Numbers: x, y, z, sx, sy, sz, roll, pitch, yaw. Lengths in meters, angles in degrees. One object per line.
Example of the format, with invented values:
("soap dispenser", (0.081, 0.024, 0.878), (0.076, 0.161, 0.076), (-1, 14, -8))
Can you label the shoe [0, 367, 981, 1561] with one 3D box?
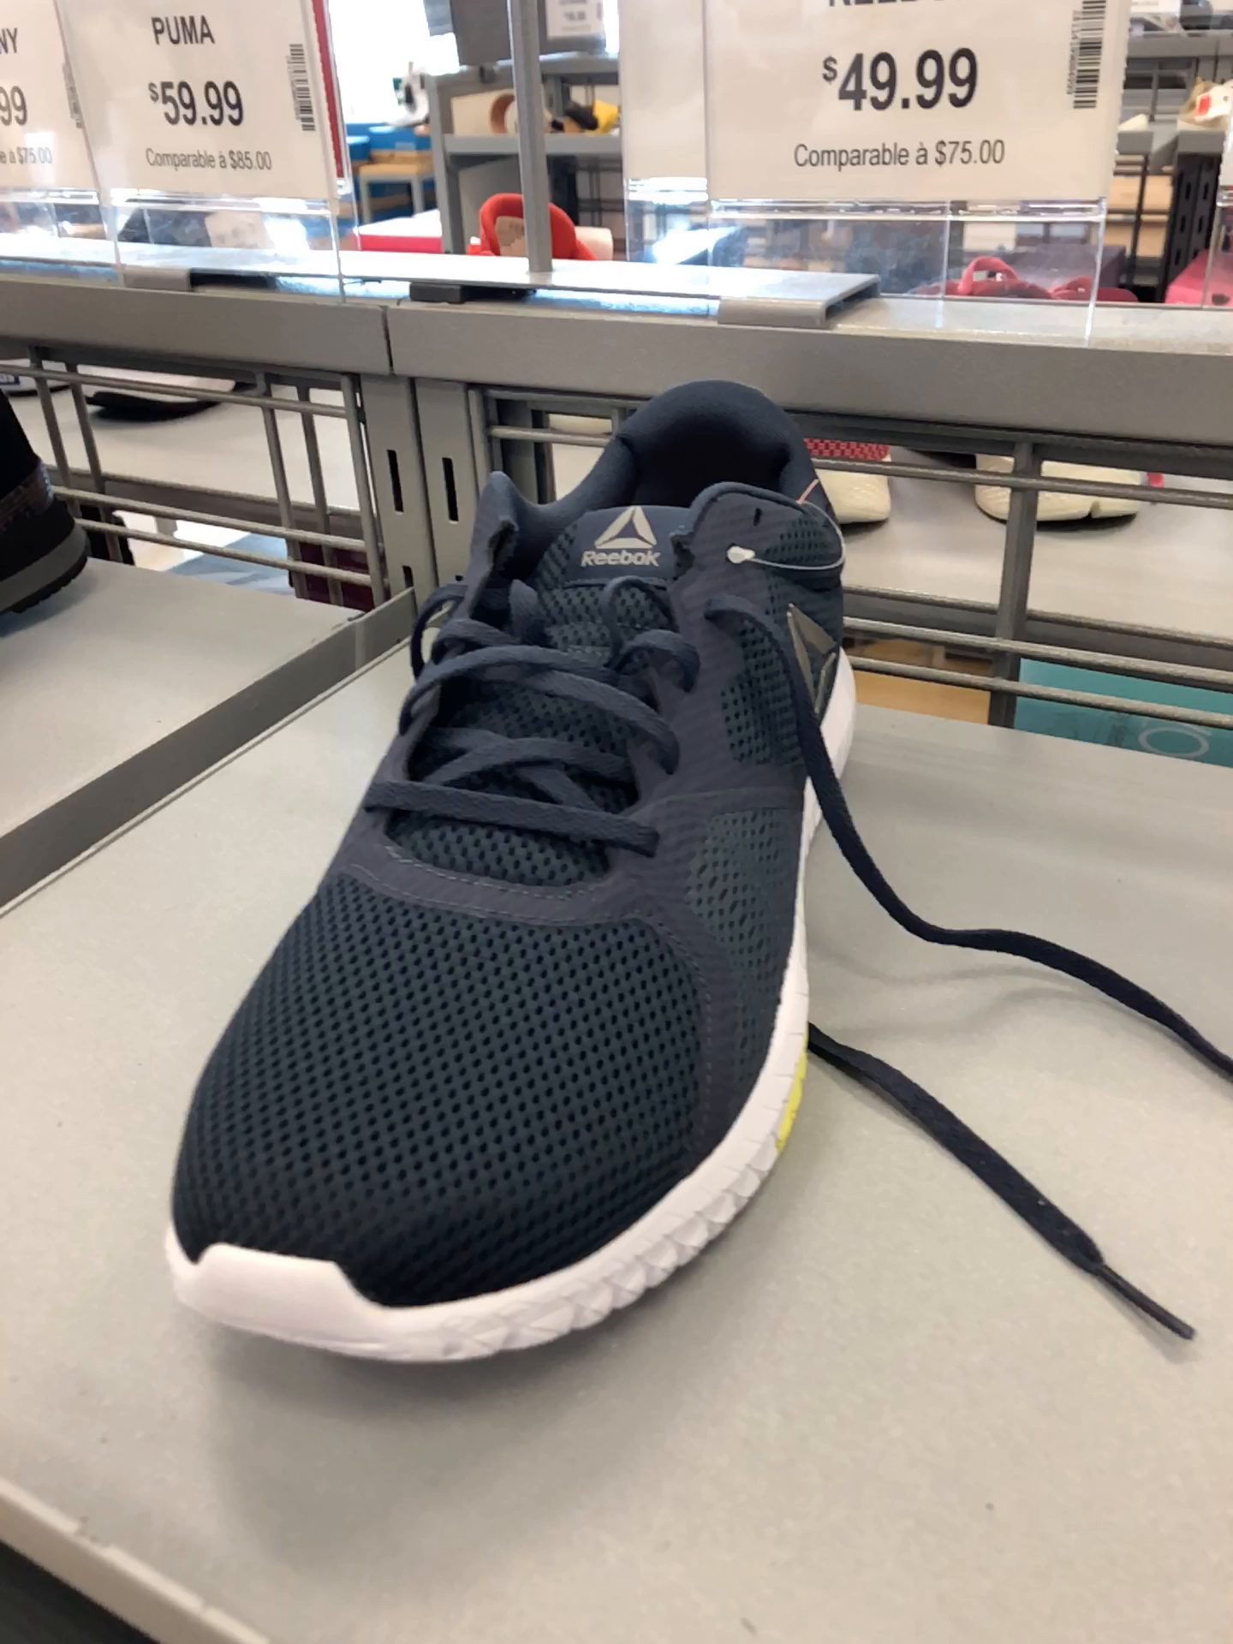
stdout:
("shoe", (0.003, -0.018, 0.335), (0.120, 0.109, 0.322), (8, 32, 18))
